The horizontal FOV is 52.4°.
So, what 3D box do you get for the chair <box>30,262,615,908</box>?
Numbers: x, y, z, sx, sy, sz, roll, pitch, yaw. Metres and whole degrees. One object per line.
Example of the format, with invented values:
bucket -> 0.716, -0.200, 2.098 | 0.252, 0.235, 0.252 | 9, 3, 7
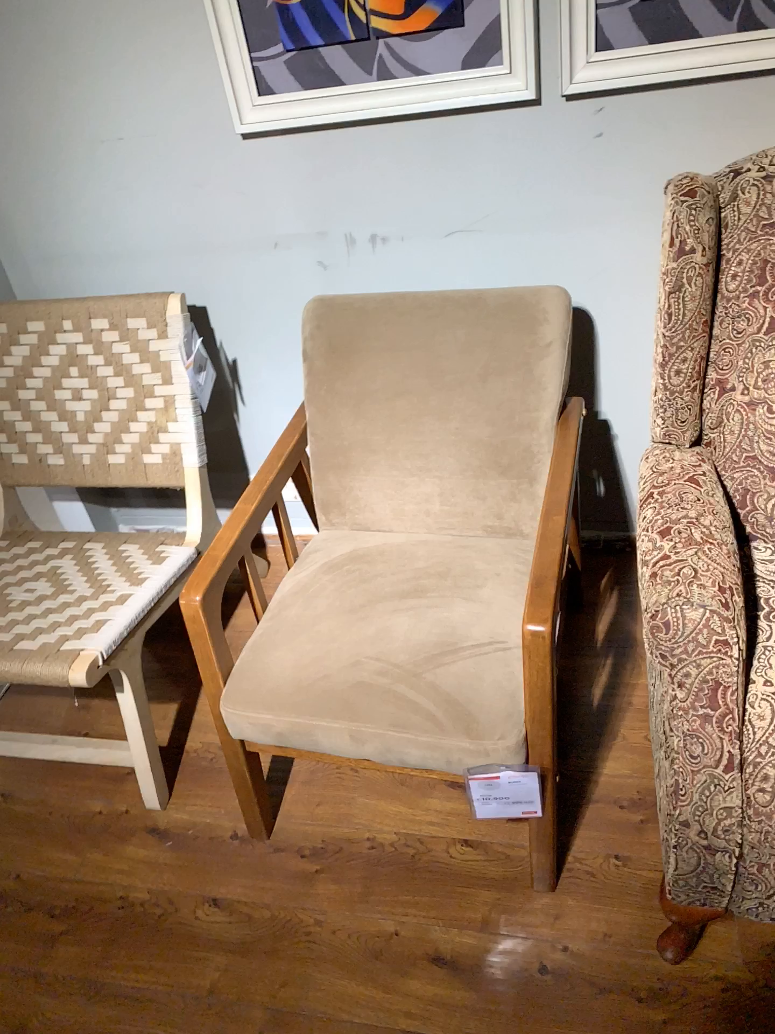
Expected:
chair -> 0.030, 0.064, 1.490 | 0.721, 0.737, 0.873 | 3, 40, 16
